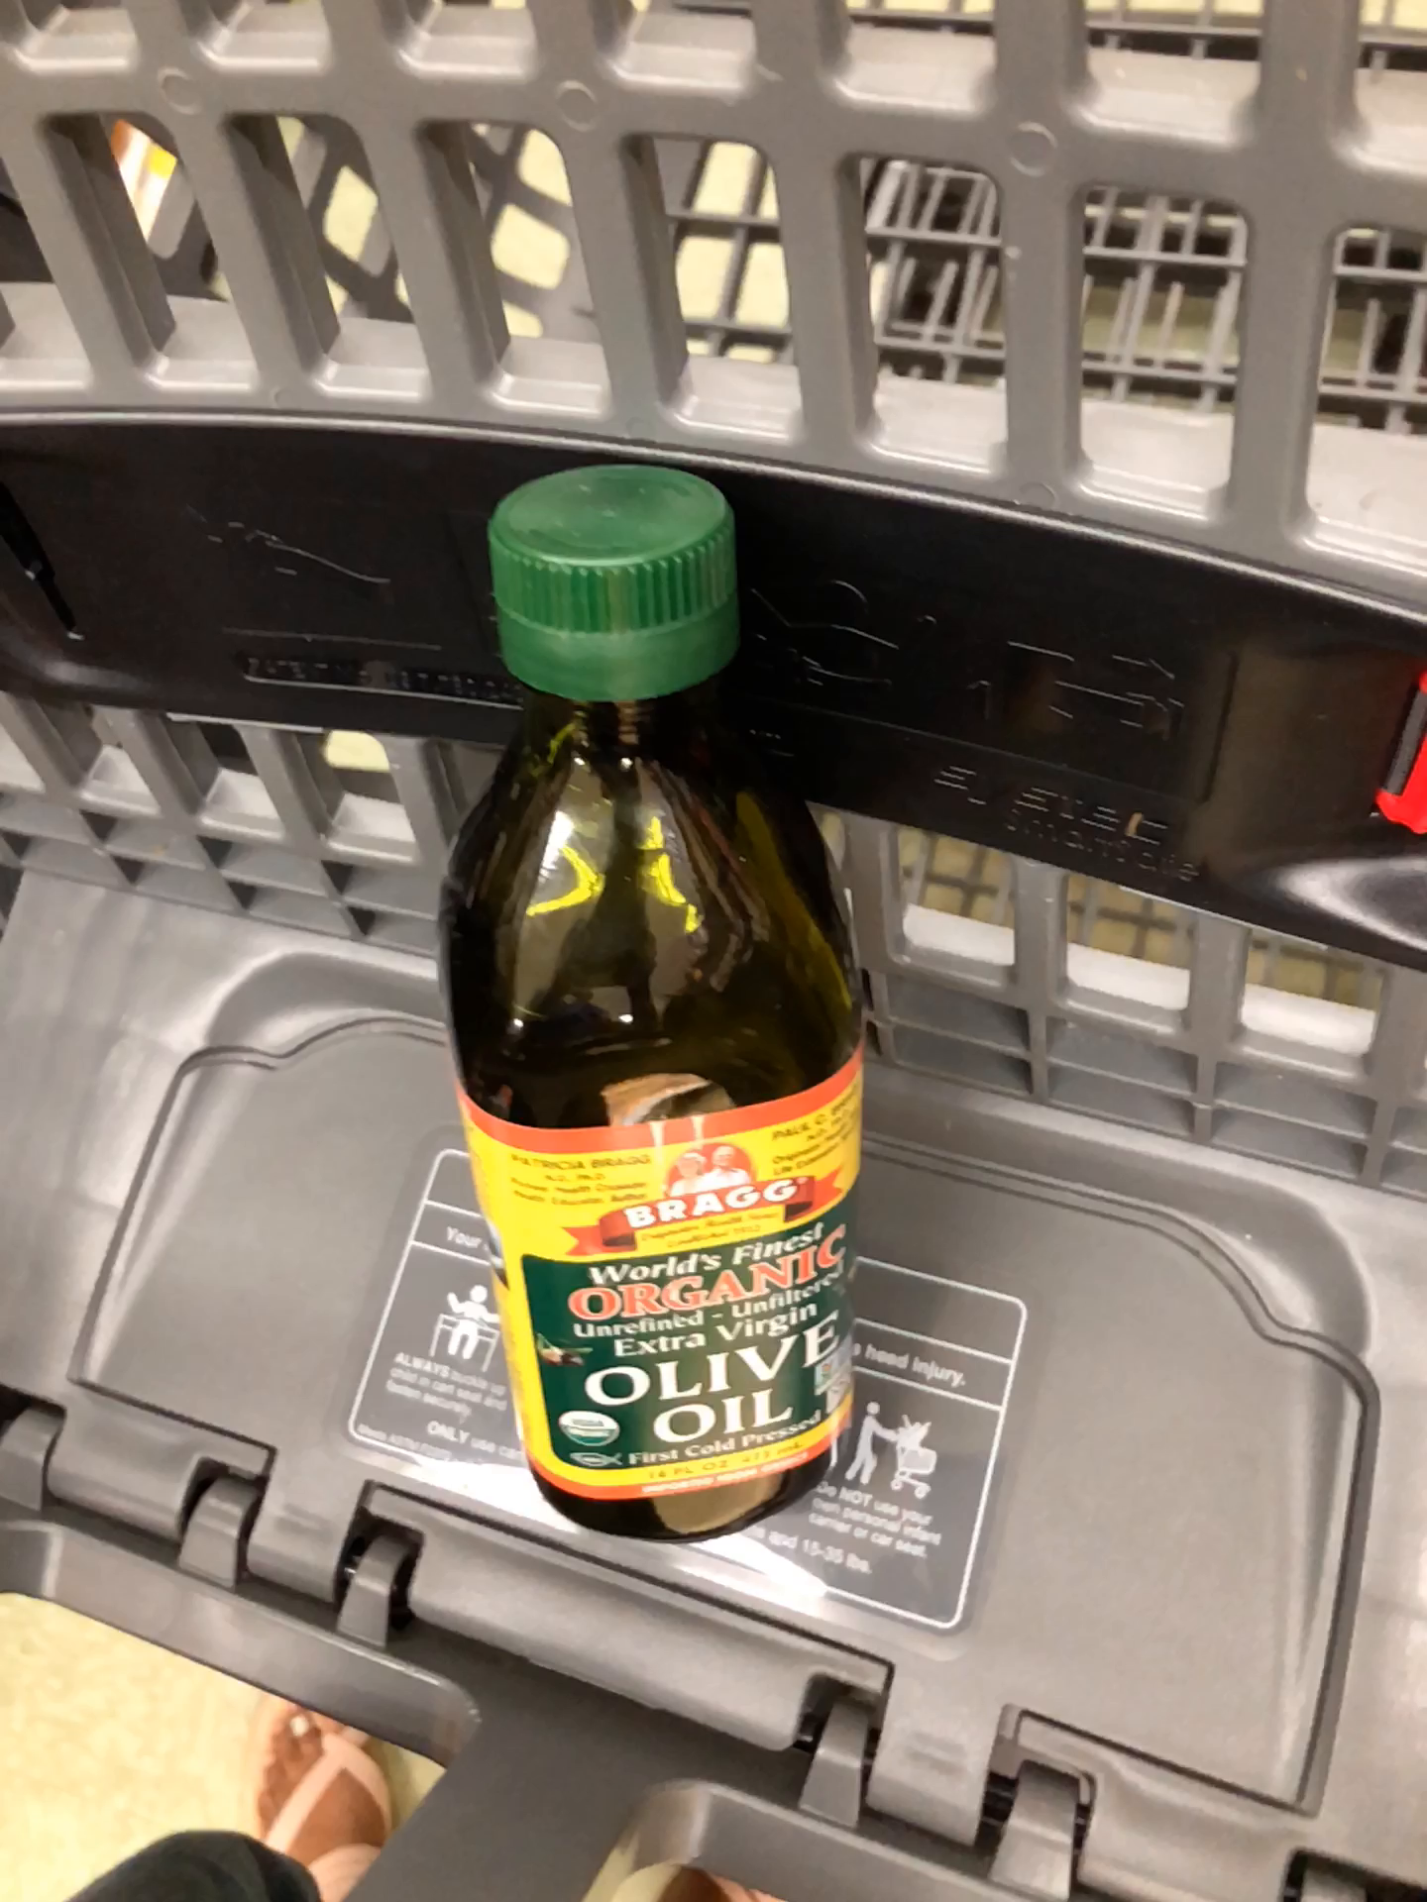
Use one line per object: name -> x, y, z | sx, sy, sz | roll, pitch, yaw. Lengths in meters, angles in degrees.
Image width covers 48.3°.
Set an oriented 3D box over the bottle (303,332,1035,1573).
bottle -> -0.009, 0.012, 0.260 | 0.080, 0.193, 0.070 | -8, 40, -8
